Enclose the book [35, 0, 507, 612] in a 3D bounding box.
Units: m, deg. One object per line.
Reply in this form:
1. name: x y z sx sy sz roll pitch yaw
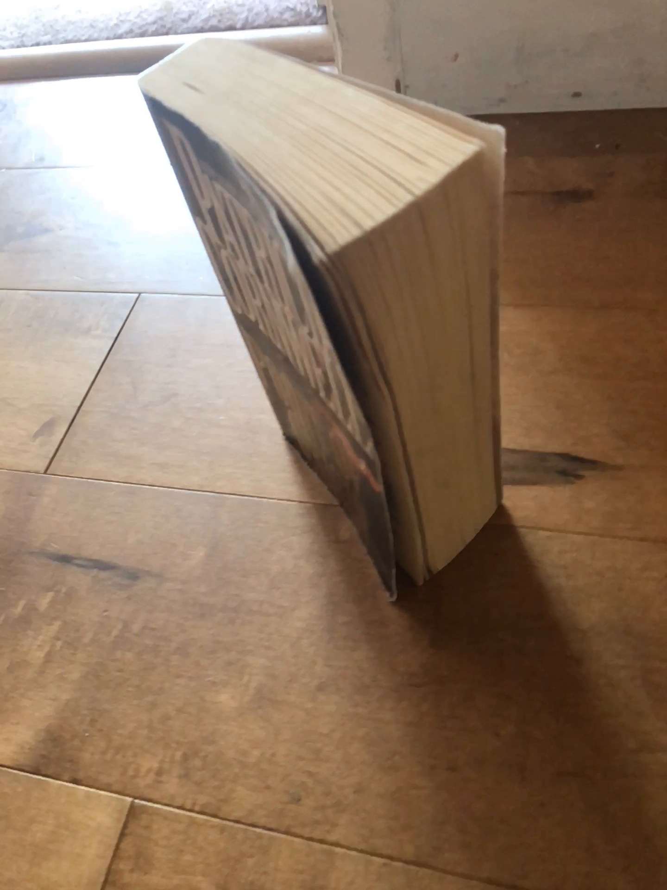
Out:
1. book: -0.010 -0.039 0.238 0.050 0.159 0.131 -36 54 -12
